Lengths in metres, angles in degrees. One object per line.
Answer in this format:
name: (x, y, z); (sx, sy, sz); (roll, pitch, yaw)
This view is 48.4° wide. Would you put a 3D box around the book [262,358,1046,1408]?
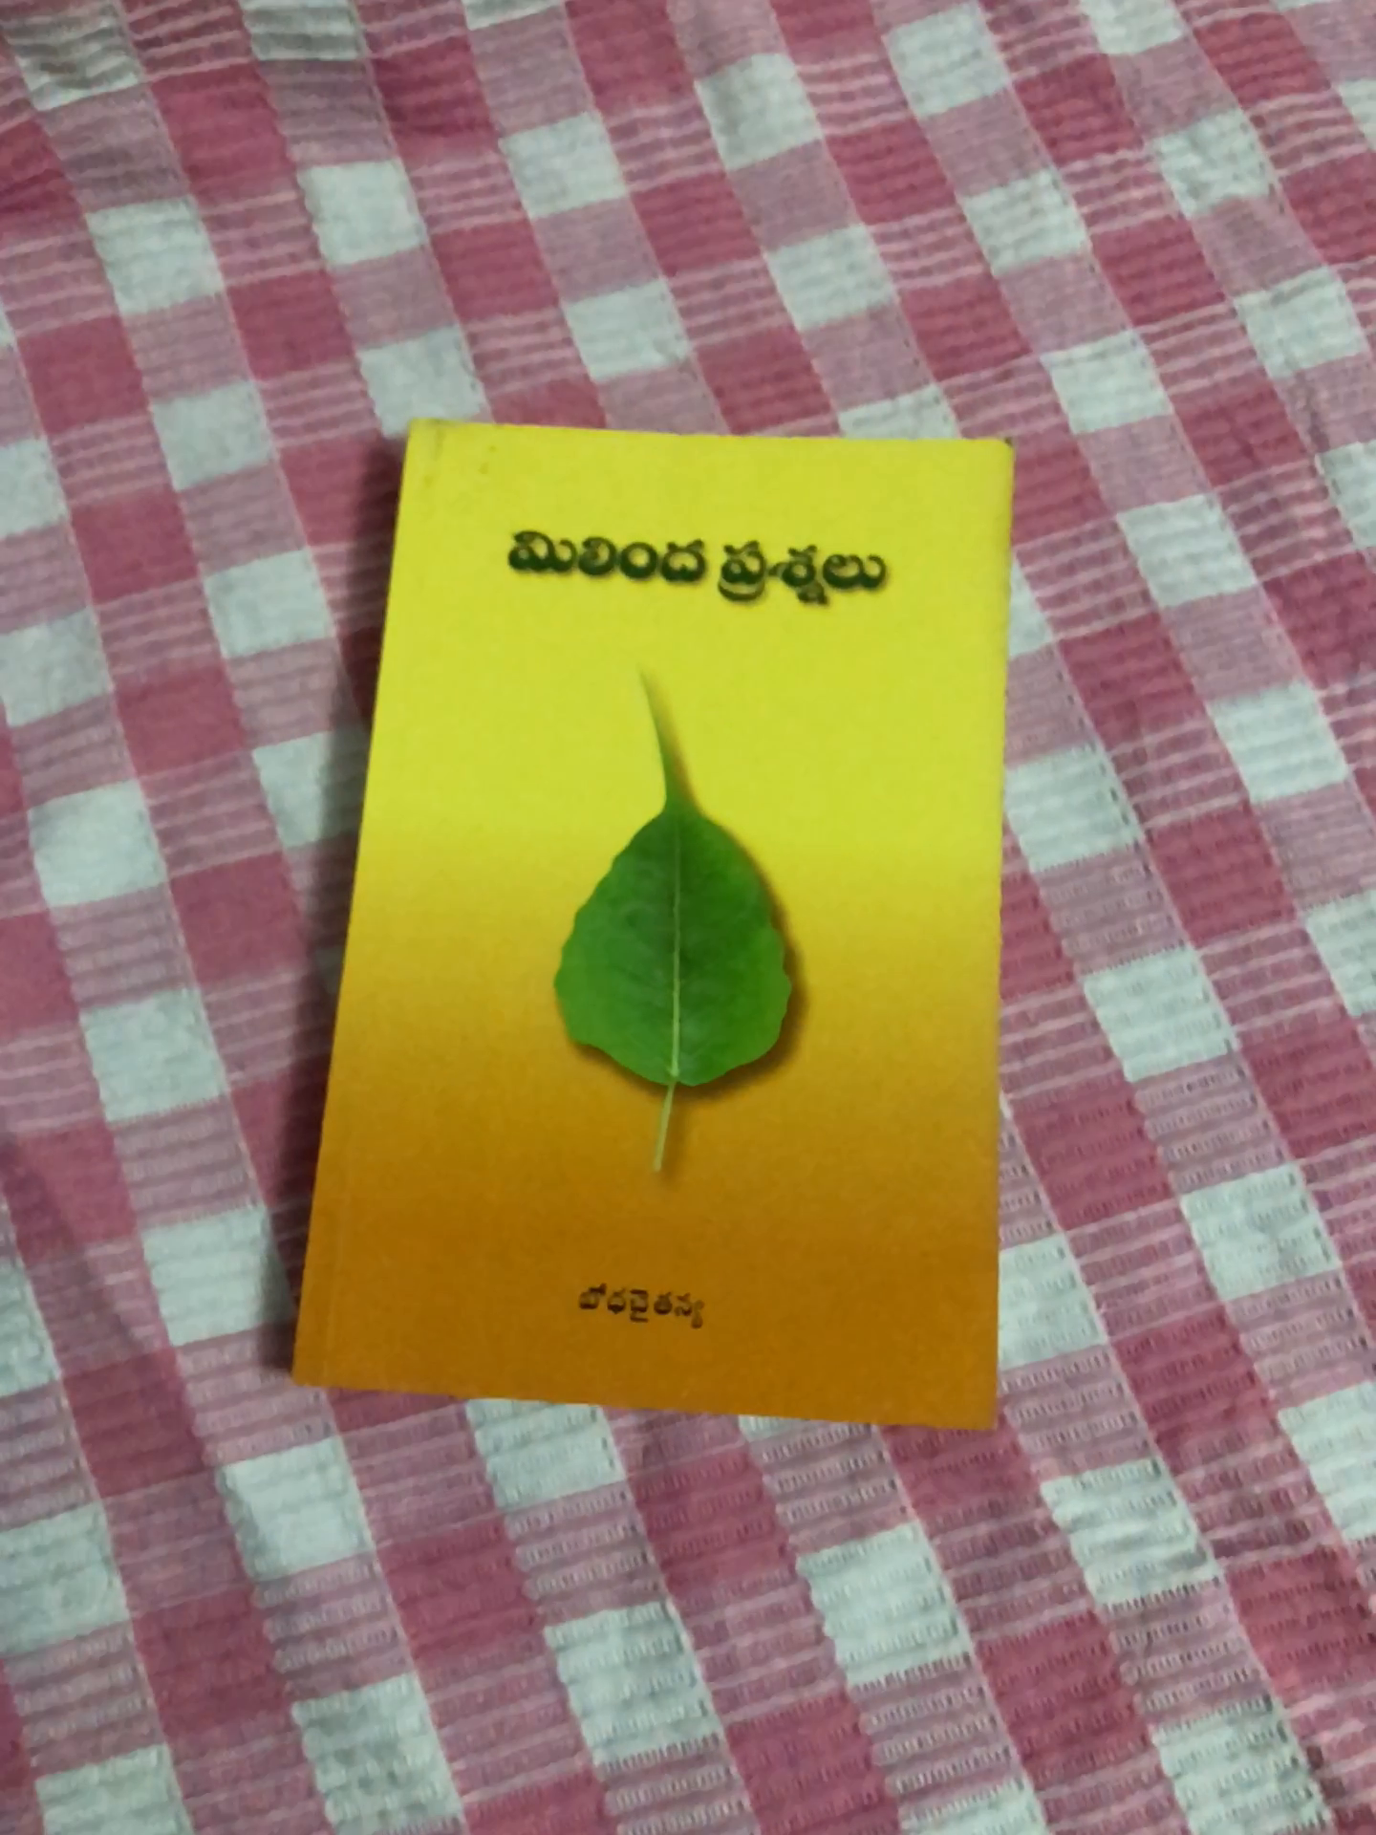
book: (-0.001, -0.015, 0.330); (0.150, 0.020, 0.220); (3, 76, 1)
